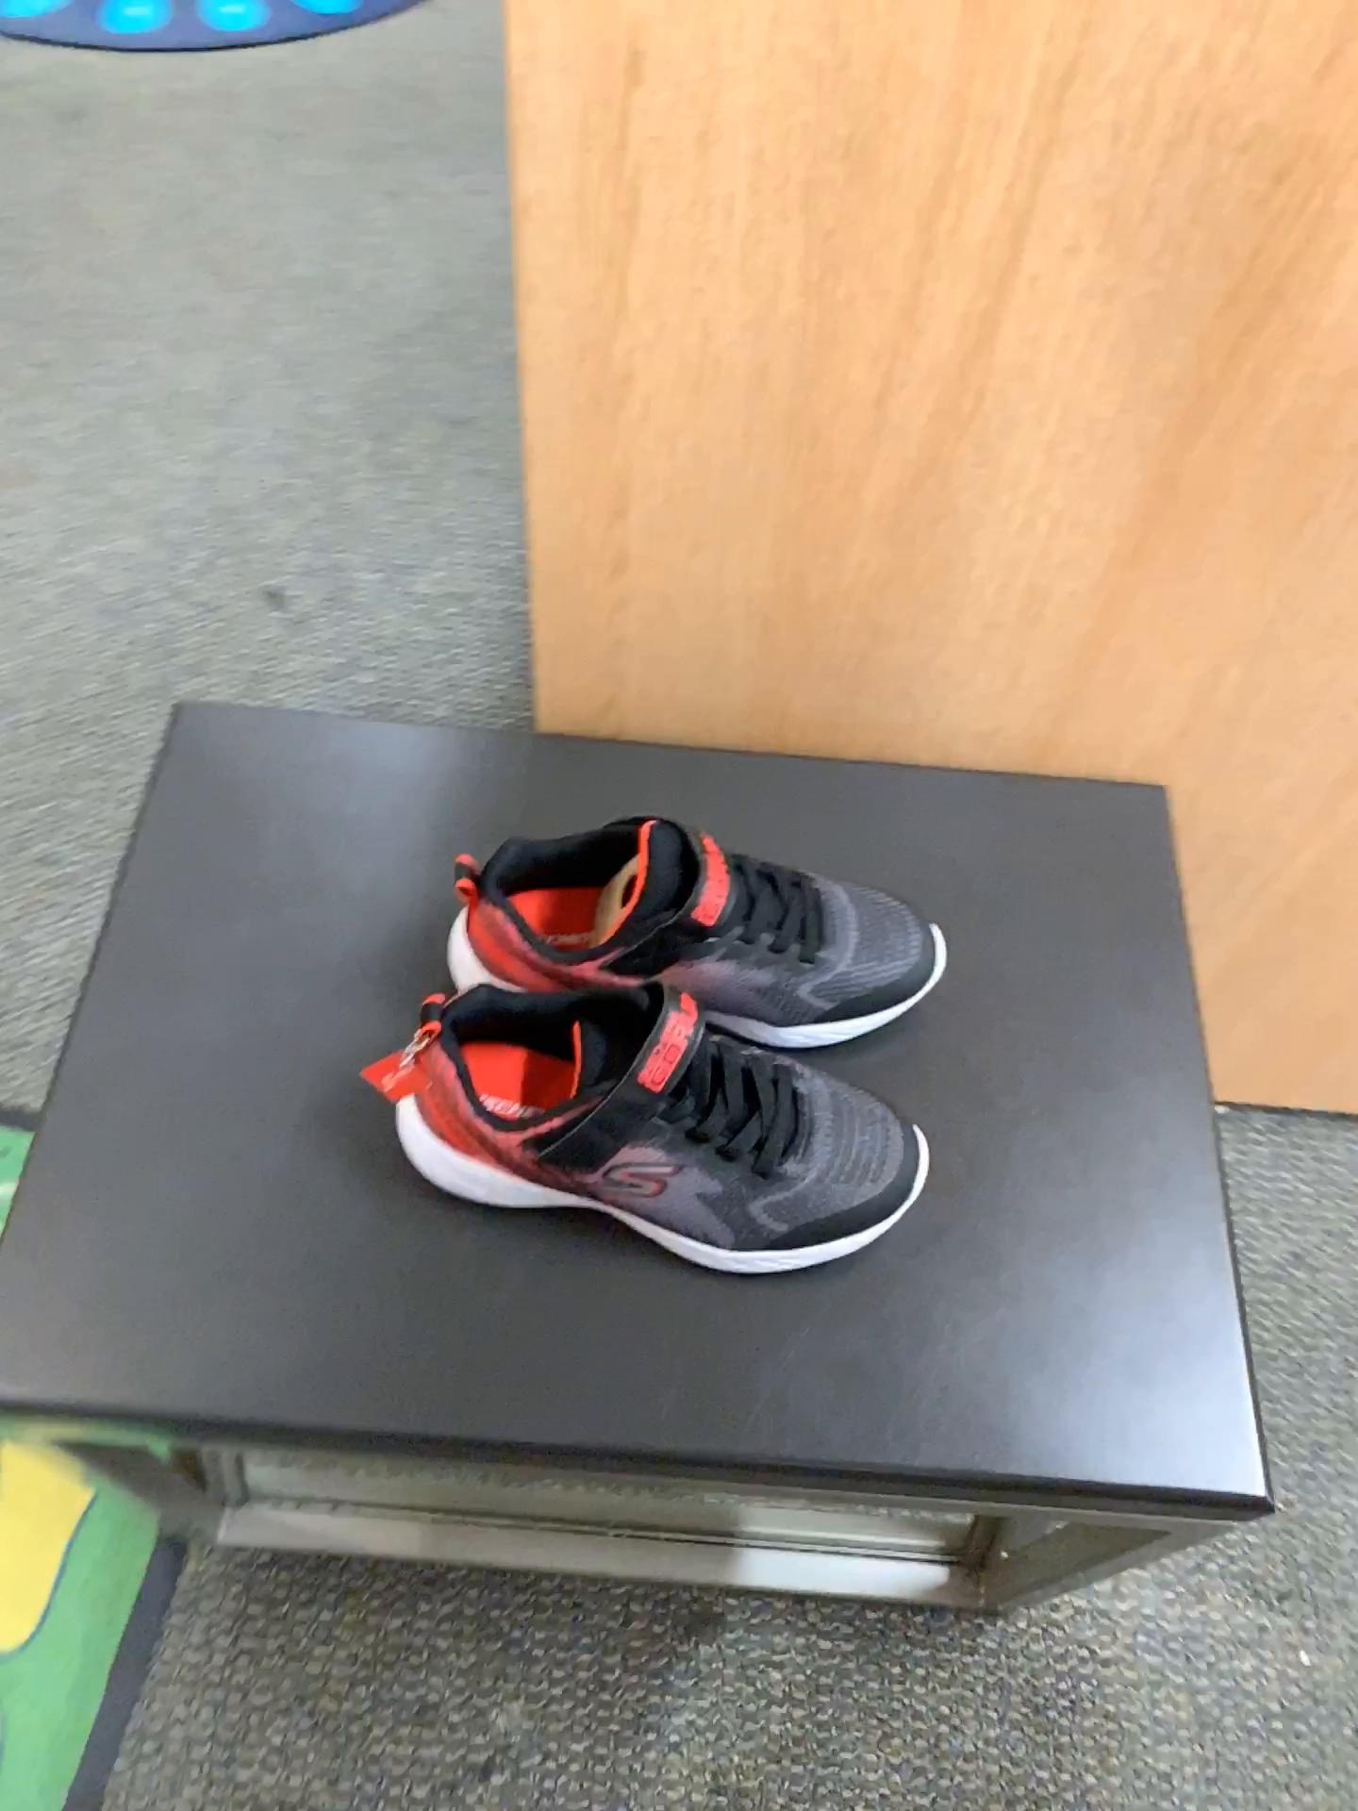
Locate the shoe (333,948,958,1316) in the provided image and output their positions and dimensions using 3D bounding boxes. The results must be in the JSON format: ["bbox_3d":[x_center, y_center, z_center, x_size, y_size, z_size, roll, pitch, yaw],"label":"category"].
[{"bbox_3d":[-0.010,0.097,0.593,0.240,0.080,0.098,8,58,1],"label":"shoe"}]

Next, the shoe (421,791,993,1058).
[{"bbox_3d":[0.010,0.010,0.638,0.240,0.080,0.090,1,58,-3],"label":"shoe"}]
